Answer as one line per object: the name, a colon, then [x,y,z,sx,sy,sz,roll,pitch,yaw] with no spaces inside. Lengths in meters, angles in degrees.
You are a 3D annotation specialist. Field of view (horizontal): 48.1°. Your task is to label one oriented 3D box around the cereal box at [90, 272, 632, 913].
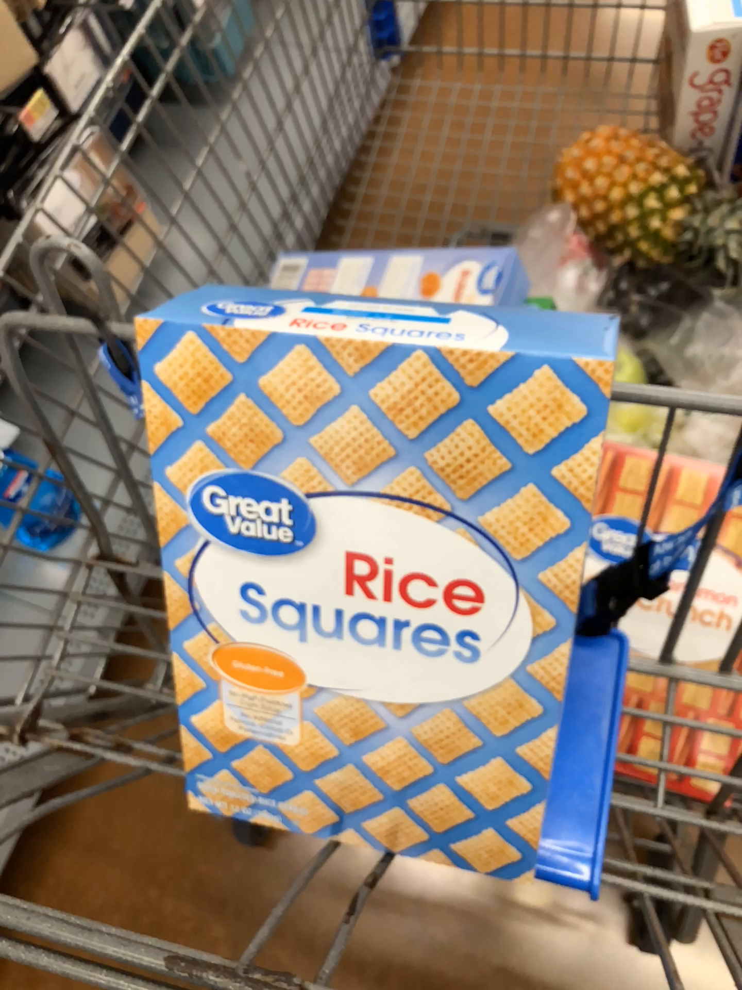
cereal box: [-0.004,0.048,0.405,0.210,0.280,0.080,8,27,13]
